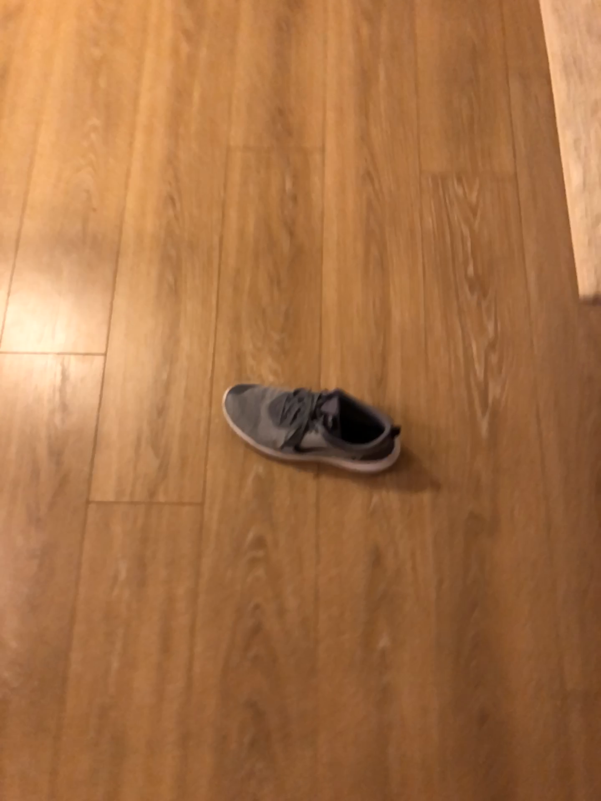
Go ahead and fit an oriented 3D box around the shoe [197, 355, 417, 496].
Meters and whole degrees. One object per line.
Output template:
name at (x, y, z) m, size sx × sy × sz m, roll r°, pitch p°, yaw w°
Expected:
shoe at (0.011, 0.041, 1.075) m, size 0.320 × 0.080 × 0.140 m, roll 14°, pitch 72°, yaw 4°
